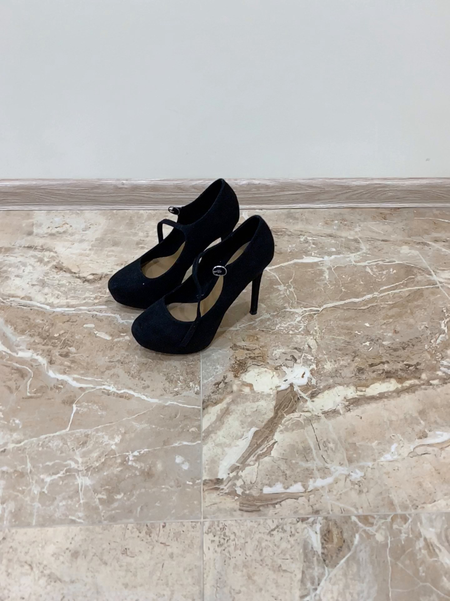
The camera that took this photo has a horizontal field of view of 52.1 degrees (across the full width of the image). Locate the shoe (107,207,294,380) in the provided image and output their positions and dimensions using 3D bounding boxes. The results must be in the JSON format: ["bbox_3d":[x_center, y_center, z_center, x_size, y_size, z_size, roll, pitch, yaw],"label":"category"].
[{"bbox_3d":[-0.029,-0.010,0.609,0.210,0.159,0.080,-19,48,-20],"label":"shoe"}]

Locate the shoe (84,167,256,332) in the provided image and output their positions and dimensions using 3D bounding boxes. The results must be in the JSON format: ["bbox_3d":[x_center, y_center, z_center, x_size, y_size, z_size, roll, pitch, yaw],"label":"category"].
[{"bbox_3d":[-0.074,-0.075,0.672,0.210,0.169,0.090,-19,48,-20],"label":"shoe"}]
